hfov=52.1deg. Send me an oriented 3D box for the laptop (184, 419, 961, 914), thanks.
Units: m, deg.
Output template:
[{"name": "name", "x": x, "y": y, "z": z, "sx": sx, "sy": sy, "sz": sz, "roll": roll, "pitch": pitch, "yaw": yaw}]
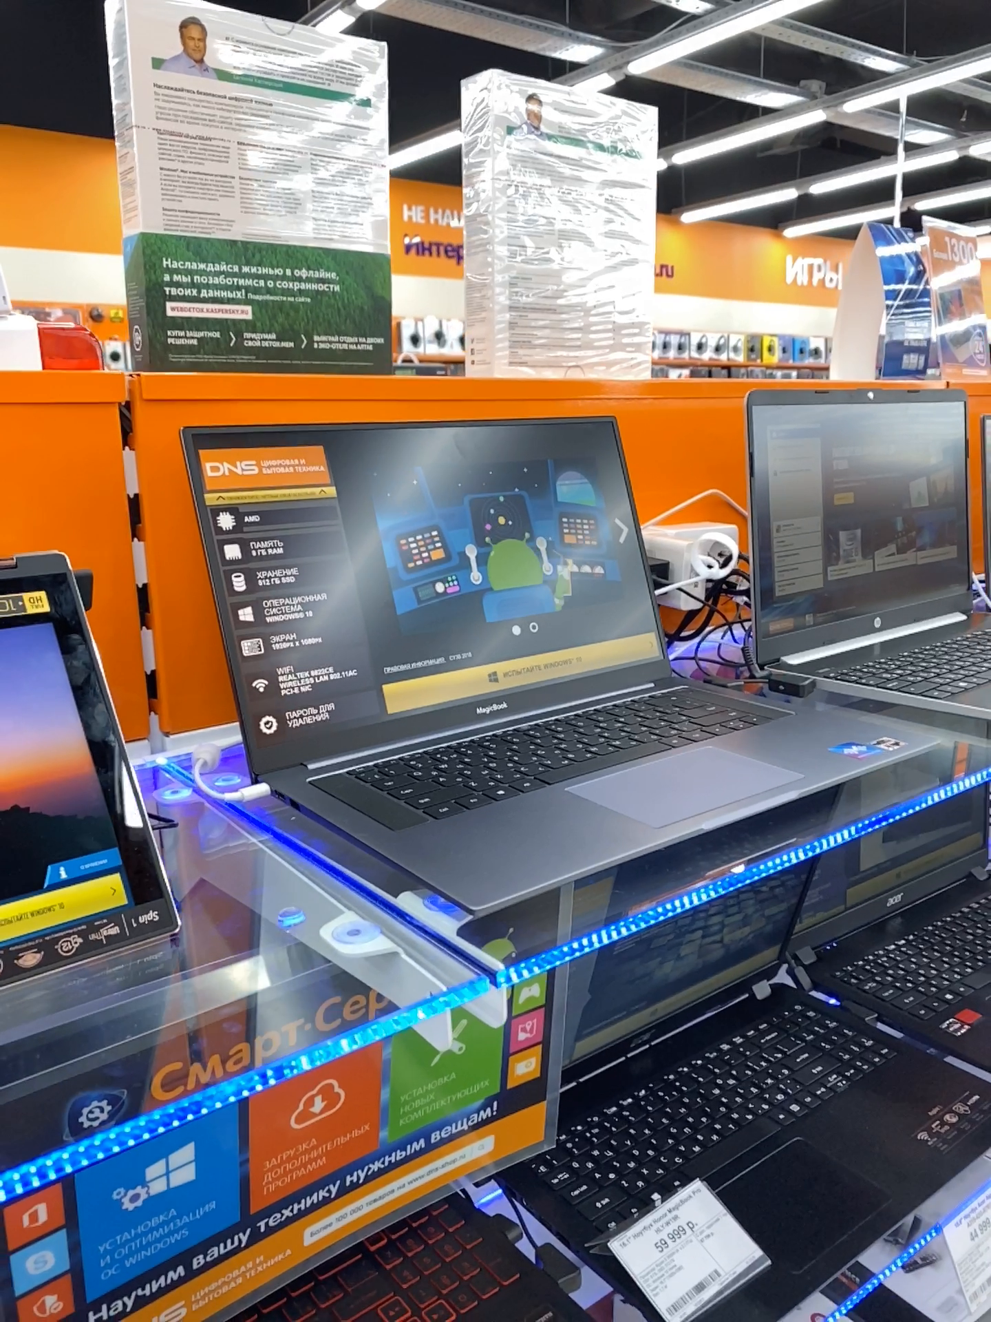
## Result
[{"name": "laptop", "x": 0.043, "y": -0.048, "z": 0.650, "sx": 0.368, "sy": 0.207, "sz": 0.315, "roll": -10, "pitch": 16, "yaw": -35}]
